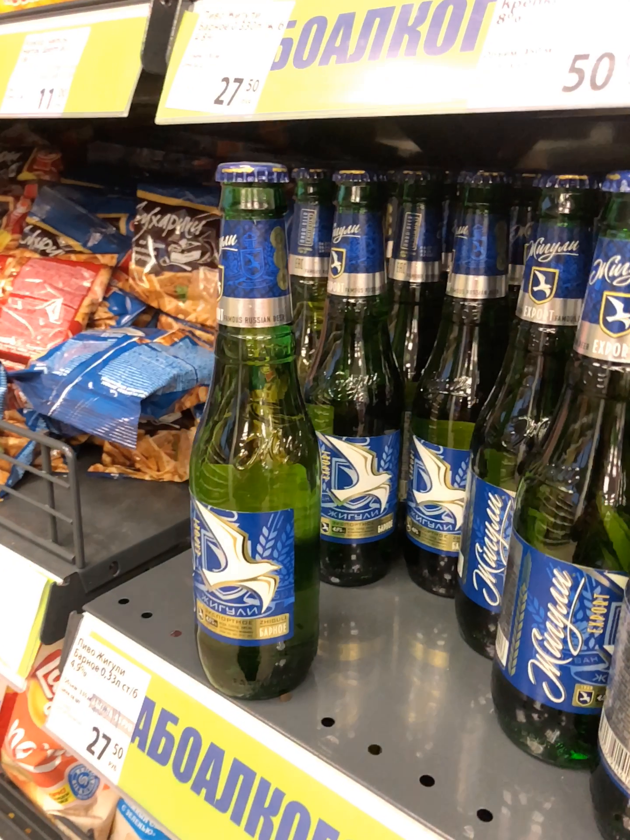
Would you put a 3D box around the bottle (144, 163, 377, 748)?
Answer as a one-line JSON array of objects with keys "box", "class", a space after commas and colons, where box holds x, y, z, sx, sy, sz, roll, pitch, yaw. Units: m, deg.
[{"box": [-0.020, 0.015, 0.303, 0.063, 0.239, 0.063, 0, 20, 0], "class": "bottle"}]
